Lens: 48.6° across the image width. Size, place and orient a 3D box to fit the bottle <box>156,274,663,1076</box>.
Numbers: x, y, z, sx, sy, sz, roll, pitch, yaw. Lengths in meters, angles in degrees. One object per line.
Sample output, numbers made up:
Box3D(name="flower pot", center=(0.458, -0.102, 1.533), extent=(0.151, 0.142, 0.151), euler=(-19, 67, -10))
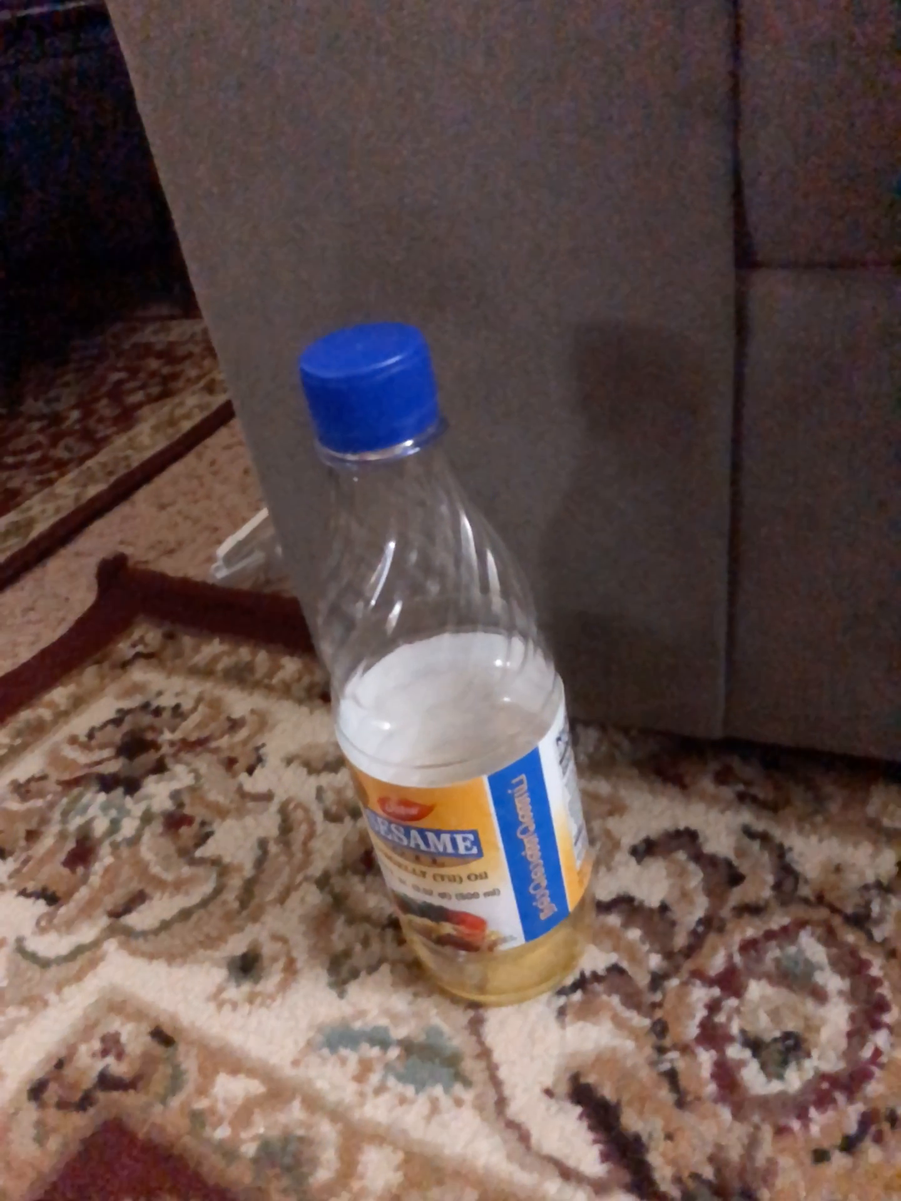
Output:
Box3D(name="bottle", center=(0.004, 0.026, 0.267), extent=(0.070, 0.199, 0.070), euler=(-9, 31, 6))
